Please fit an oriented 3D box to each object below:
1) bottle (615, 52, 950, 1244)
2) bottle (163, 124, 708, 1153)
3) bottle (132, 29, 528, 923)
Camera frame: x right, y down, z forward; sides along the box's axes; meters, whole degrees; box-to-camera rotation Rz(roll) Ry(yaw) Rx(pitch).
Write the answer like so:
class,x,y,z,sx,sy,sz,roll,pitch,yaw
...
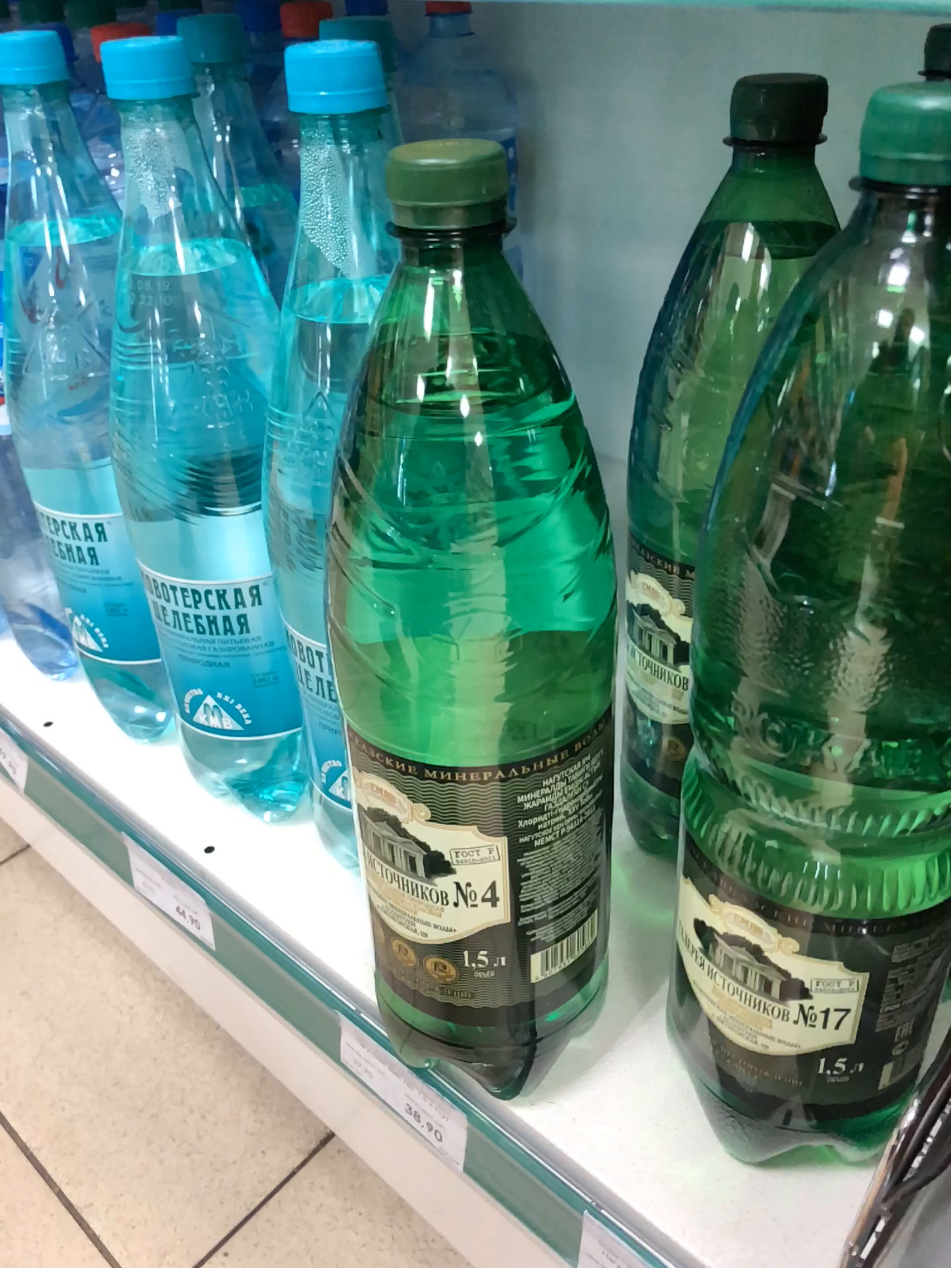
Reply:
class,x,y,z,sx,sy,sz,roll,pitch,yaw
bottle,0.106,0.028,0.296,0.091,0.326,0.082,26,44,35
bottle,-0.003,0.019,0.332,0.091,0.308,0.088,-2,35,1
bottle,-0.039,-0.041,0.406,0.084,0.326,0.076,-2,35,1
